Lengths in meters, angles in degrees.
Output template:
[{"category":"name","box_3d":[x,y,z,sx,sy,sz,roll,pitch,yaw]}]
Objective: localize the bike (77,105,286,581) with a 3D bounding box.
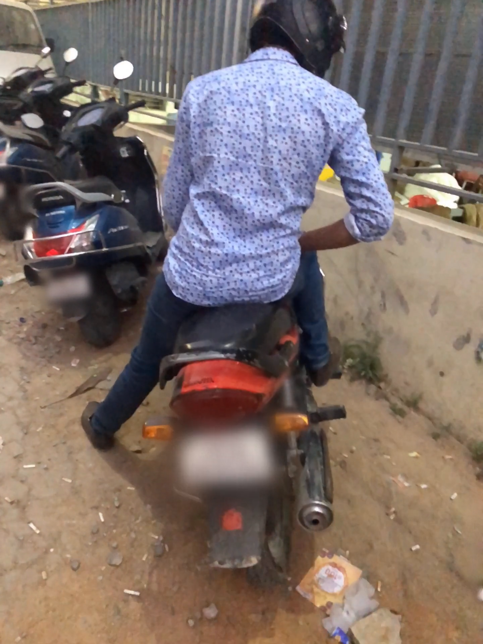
[{"category":"bike","box_3d":[-0.241,-0.171,1.944,0.424,0.830,1.661,4,30,-7]}]
